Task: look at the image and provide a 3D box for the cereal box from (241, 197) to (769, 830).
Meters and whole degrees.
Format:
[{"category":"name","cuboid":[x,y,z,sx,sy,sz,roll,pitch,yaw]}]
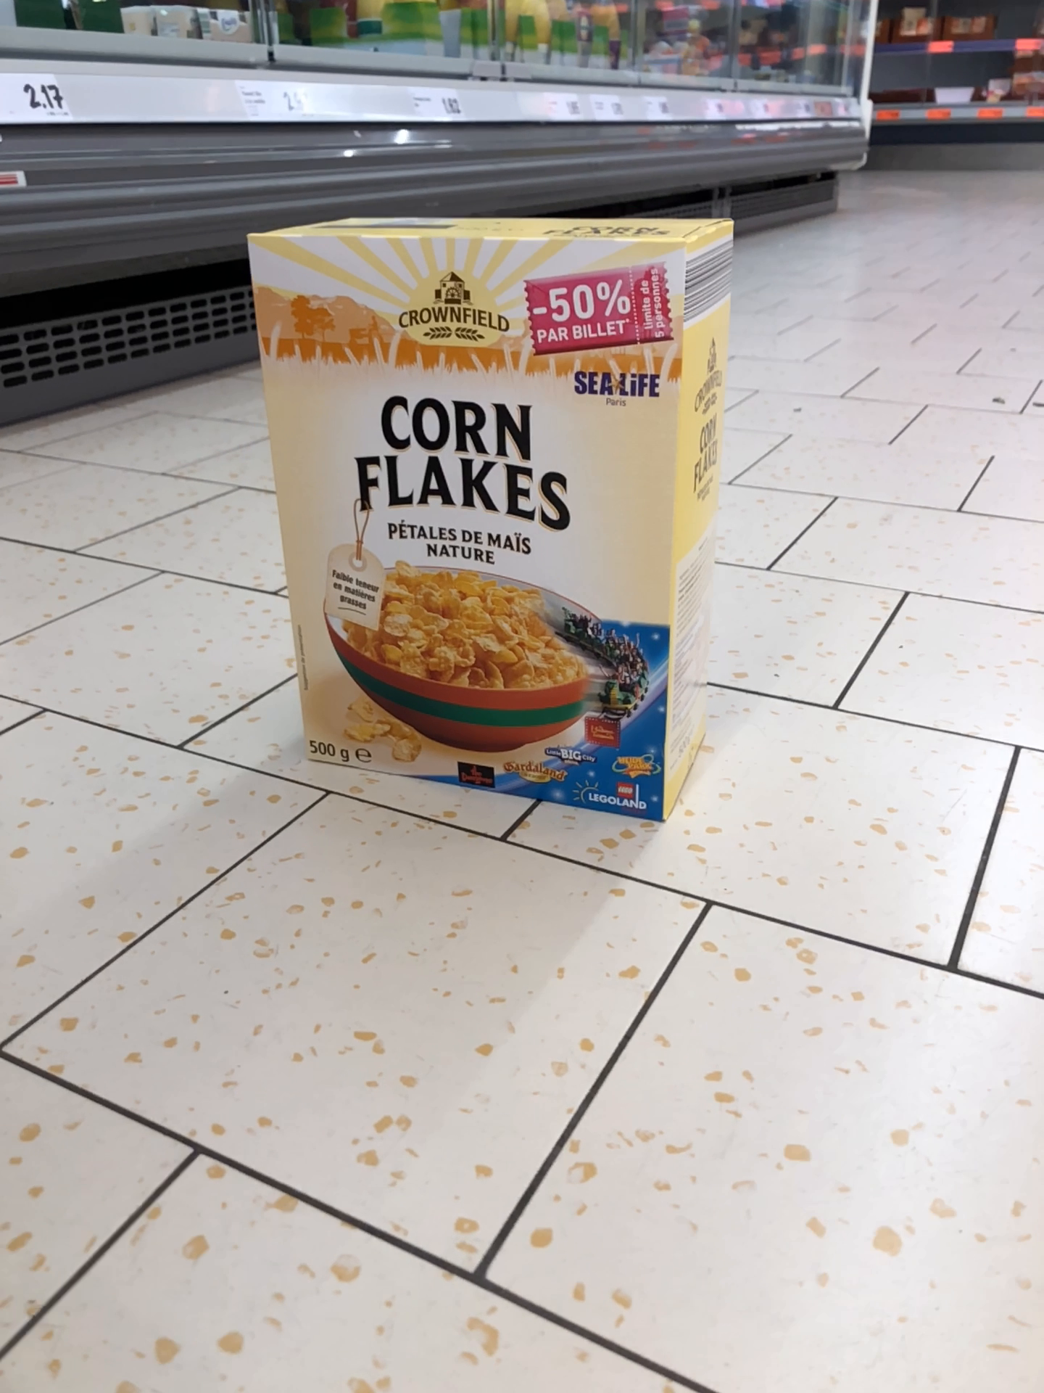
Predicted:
[{"category":"cereal box","cuboid":[-0.002,-0.091,0.538,0.200,0.259,0.101,8,26,18]}]
